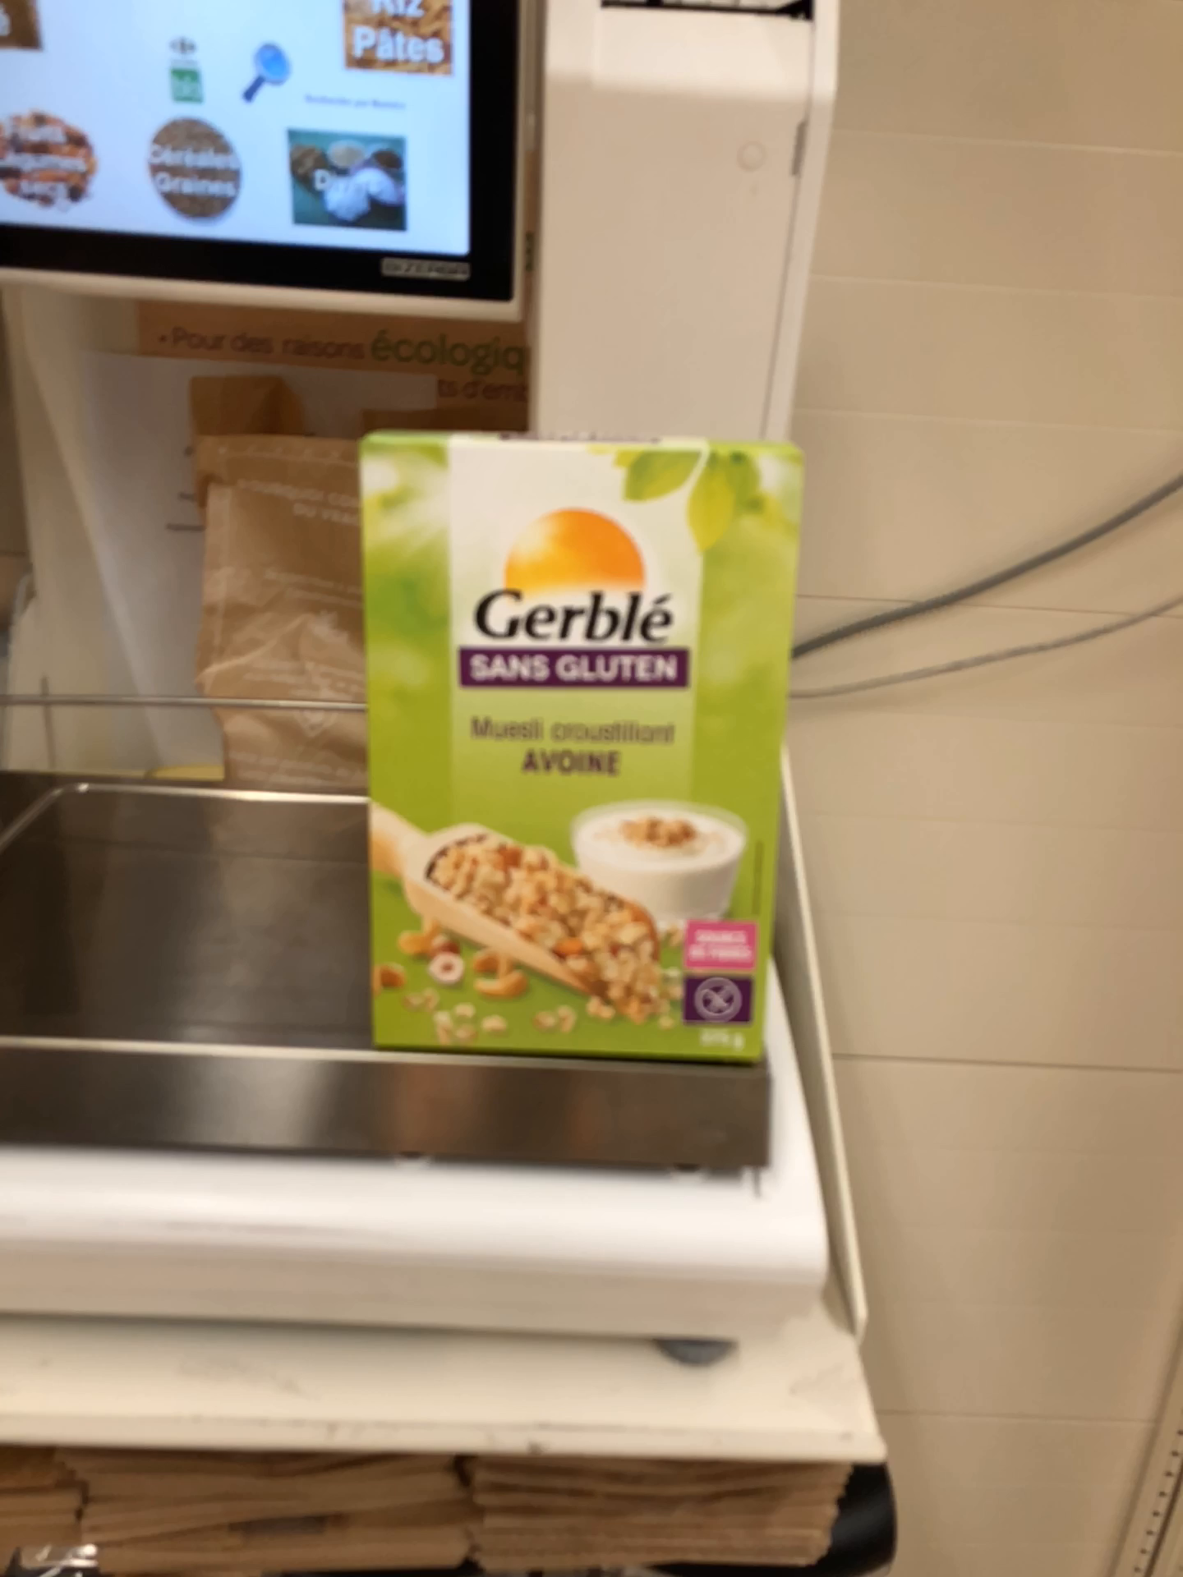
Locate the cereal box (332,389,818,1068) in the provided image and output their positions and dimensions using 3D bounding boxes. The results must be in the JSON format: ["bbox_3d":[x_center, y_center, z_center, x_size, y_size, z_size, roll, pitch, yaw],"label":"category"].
[{"bbox_3d":[-0.006,-0.019,0.449,0.150,0.229,0.050,1,16,1],"label":"cereal box"}]
